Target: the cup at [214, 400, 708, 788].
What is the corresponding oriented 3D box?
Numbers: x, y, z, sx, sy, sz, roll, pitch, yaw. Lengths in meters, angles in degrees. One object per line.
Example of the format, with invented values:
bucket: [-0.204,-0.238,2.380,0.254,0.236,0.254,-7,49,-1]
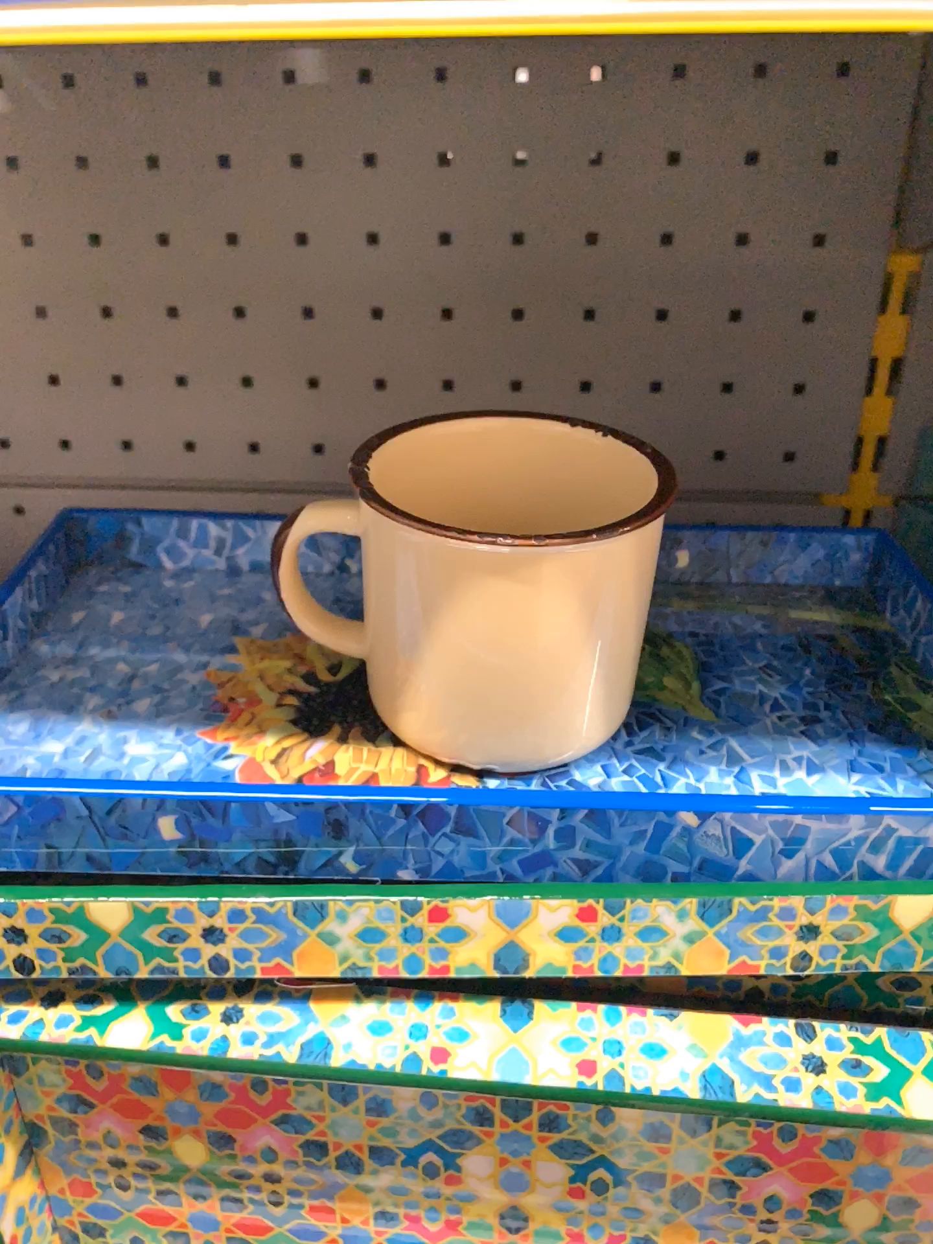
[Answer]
cup: [0.001,-0.013,0.271,0.110,0.070,0.090,3,28,3]
